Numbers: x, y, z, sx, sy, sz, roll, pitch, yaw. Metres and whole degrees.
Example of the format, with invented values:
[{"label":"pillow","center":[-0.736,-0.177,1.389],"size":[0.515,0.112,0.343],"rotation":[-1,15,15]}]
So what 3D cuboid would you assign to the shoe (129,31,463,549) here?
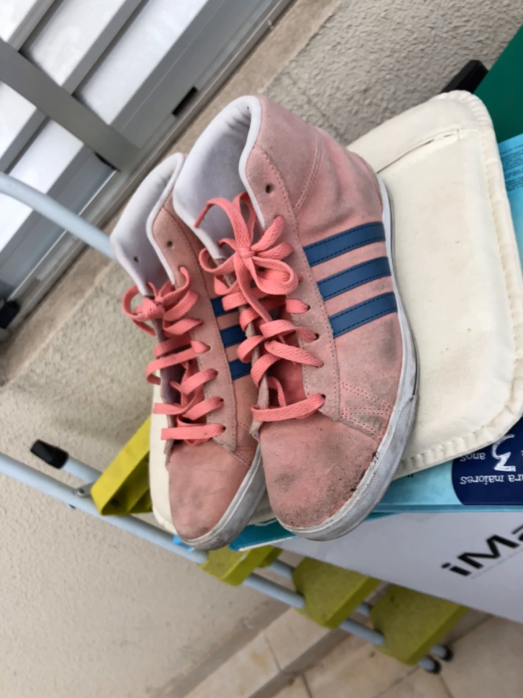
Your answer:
[{"label":"shoe","center":[0.029,-0.030,0.337],"size":[0.100,0.129,0.251],"rotation":[-20,53,36]}]

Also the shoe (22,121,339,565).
[{"label":"shoe","center":[-0.039,0.000,0.397],"size":[0.100,0.129,0.251],"rotation":[-12,57,40]}]
